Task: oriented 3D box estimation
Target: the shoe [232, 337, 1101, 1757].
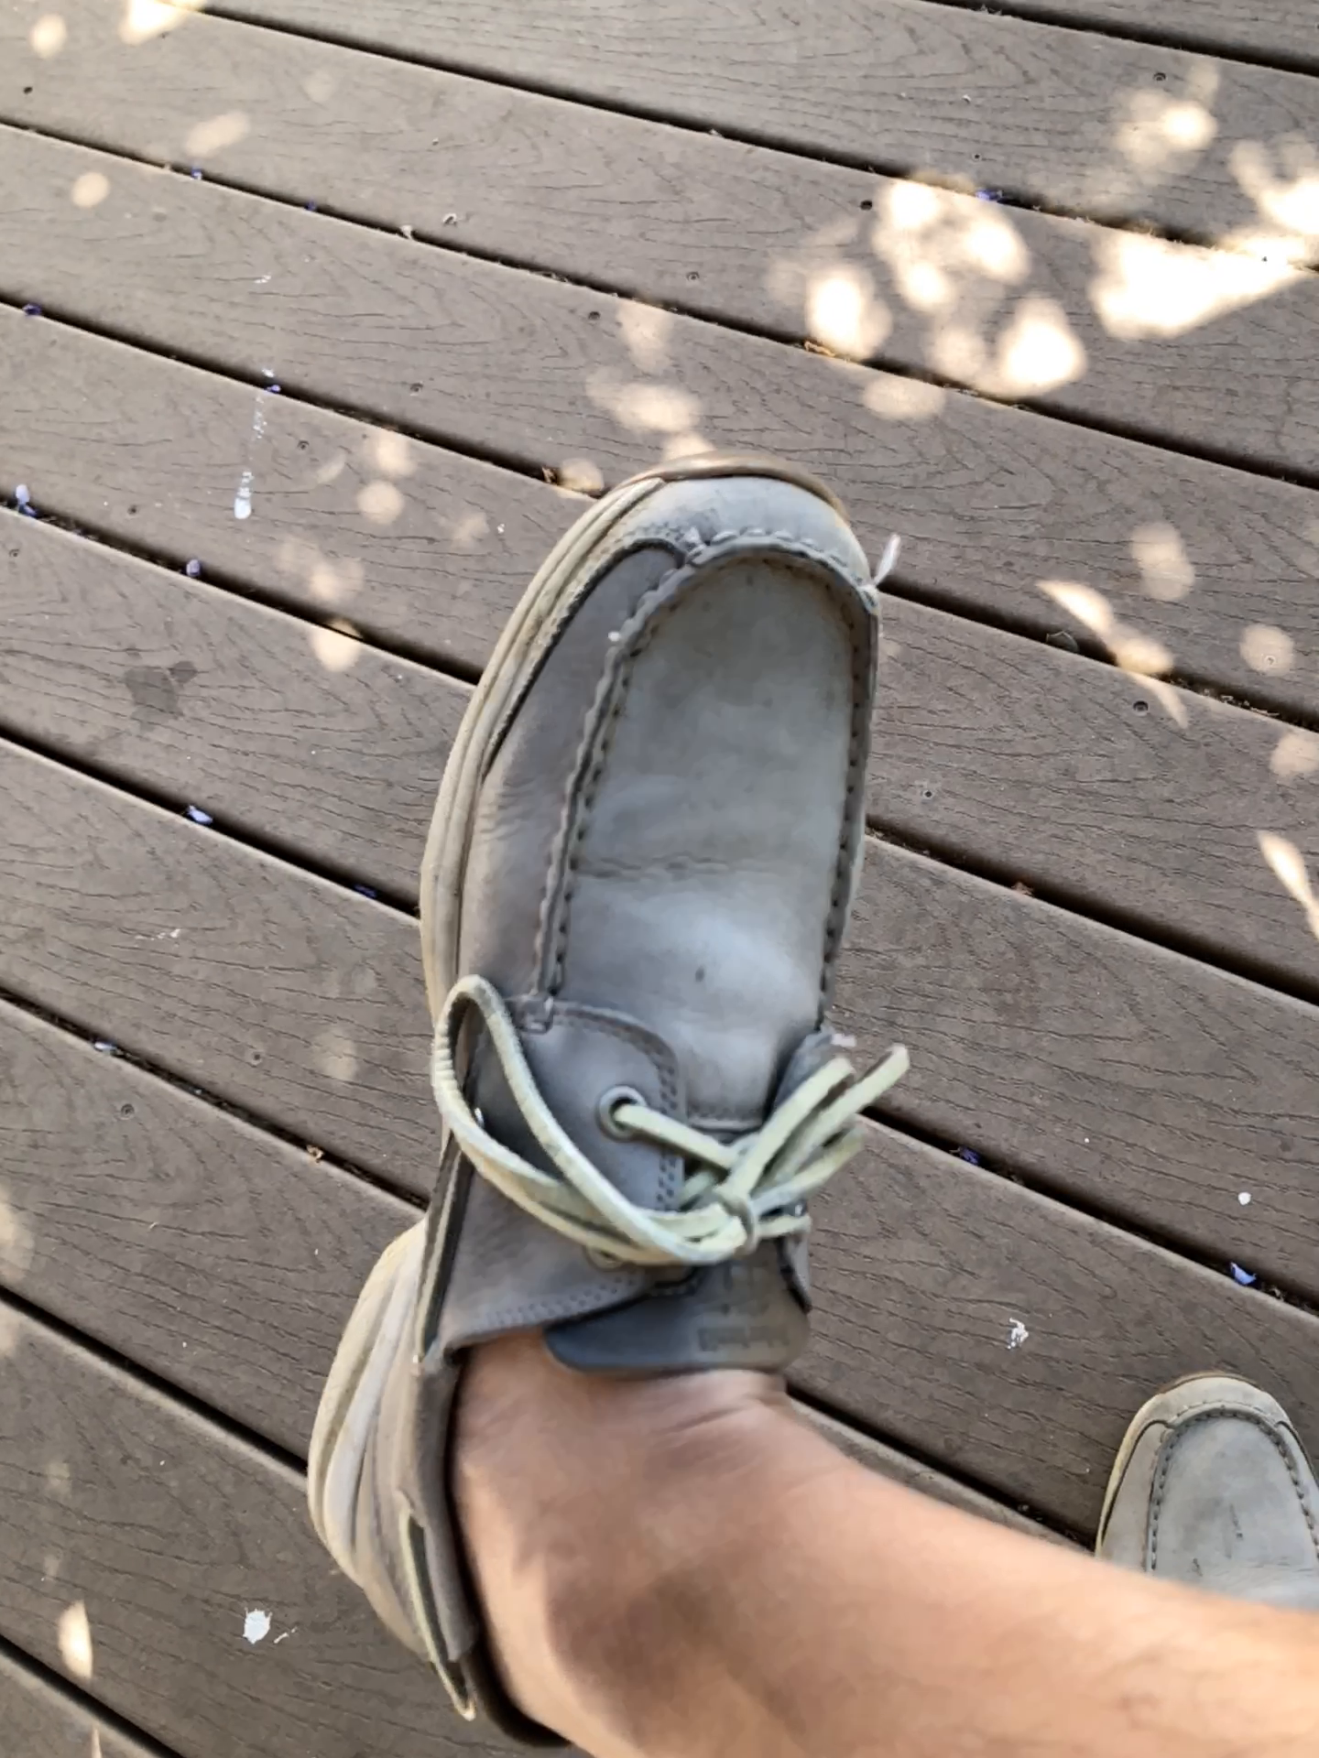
[{"bbox_3d":[-0.003,0.057,0.347,0.083,0.116,0.326,20,100,51],"label":"shoe"}]
